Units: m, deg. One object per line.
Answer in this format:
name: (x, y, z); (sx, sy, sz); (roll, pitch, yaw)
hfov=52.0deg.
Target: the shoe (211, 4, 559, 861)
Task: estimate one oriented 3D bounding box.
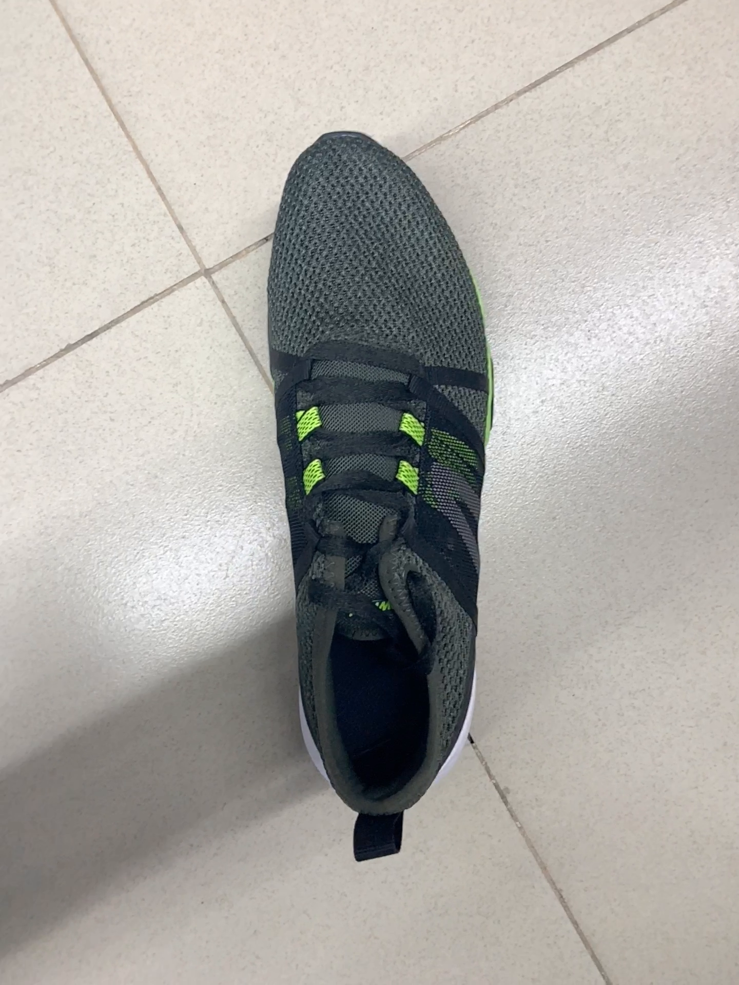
shoe: (0.007, -0.020, 0.320); (0.110, 0.100, 0.300); (-3, 91, 2)
